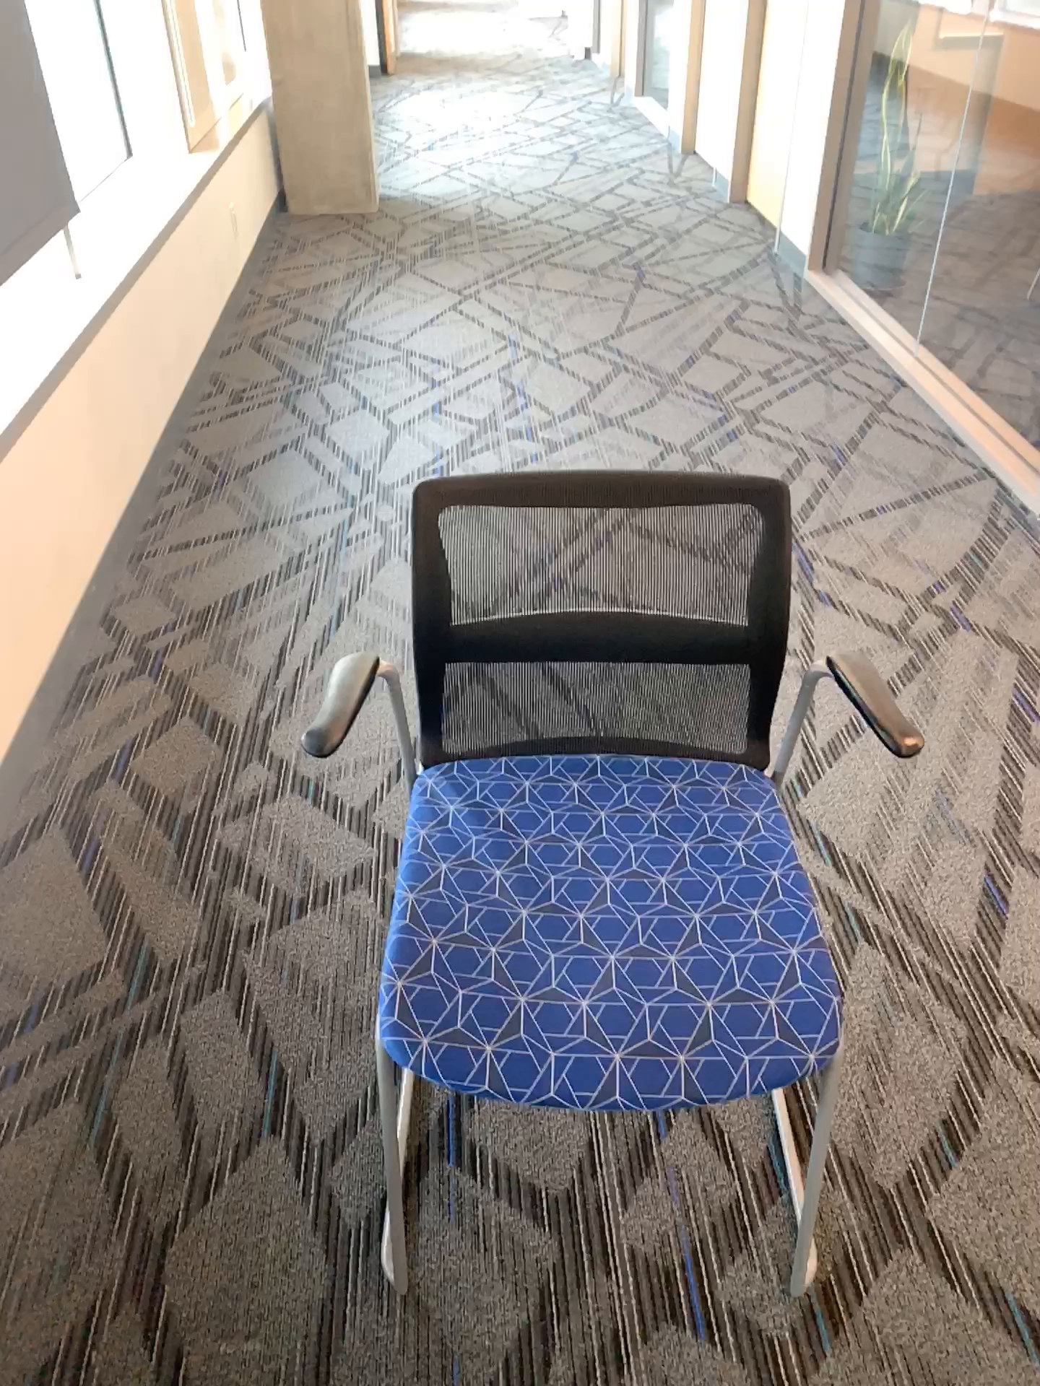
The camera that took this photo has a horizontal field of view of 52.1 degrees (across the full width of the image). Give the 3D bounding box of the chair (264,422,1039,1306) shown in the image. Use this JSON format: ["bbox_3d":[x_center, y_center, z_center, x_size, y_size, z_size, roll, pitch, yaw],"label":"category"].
[{"bbox_3d":[0.102,0.184,1.166,0.530,0.763,0.585,0,36,1],"label":"chair"}]
